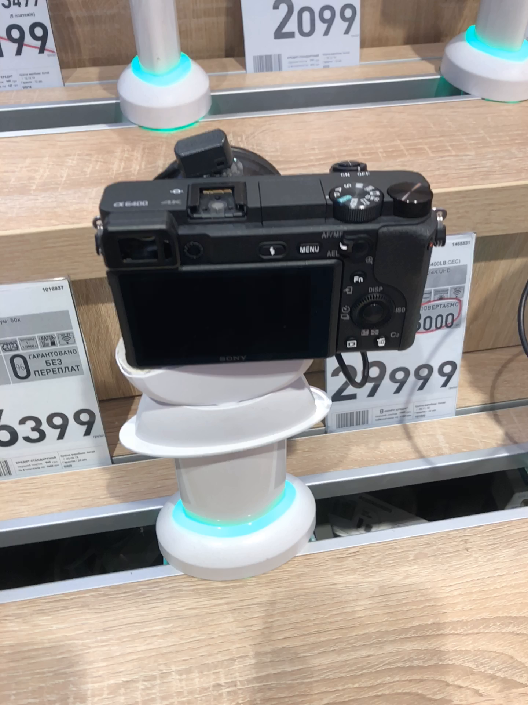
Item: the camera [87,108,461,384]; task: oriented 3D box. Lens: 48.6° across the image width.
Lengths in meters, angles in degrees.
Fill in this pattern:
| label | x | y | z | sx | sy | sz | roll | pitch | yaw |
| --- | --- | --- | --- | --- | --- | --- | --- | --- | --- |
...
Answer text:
| label | x | y | z | sx | sy | sz | roll | pitch | yaw |
| --- | --- | --- | --- | --- | --- | --- | --- | --- | --- |
| camera | 0.001 | -0.049 | 0.250 | 0.122 | 0.069 | 0.098 | -3 | 42 | -2 |
